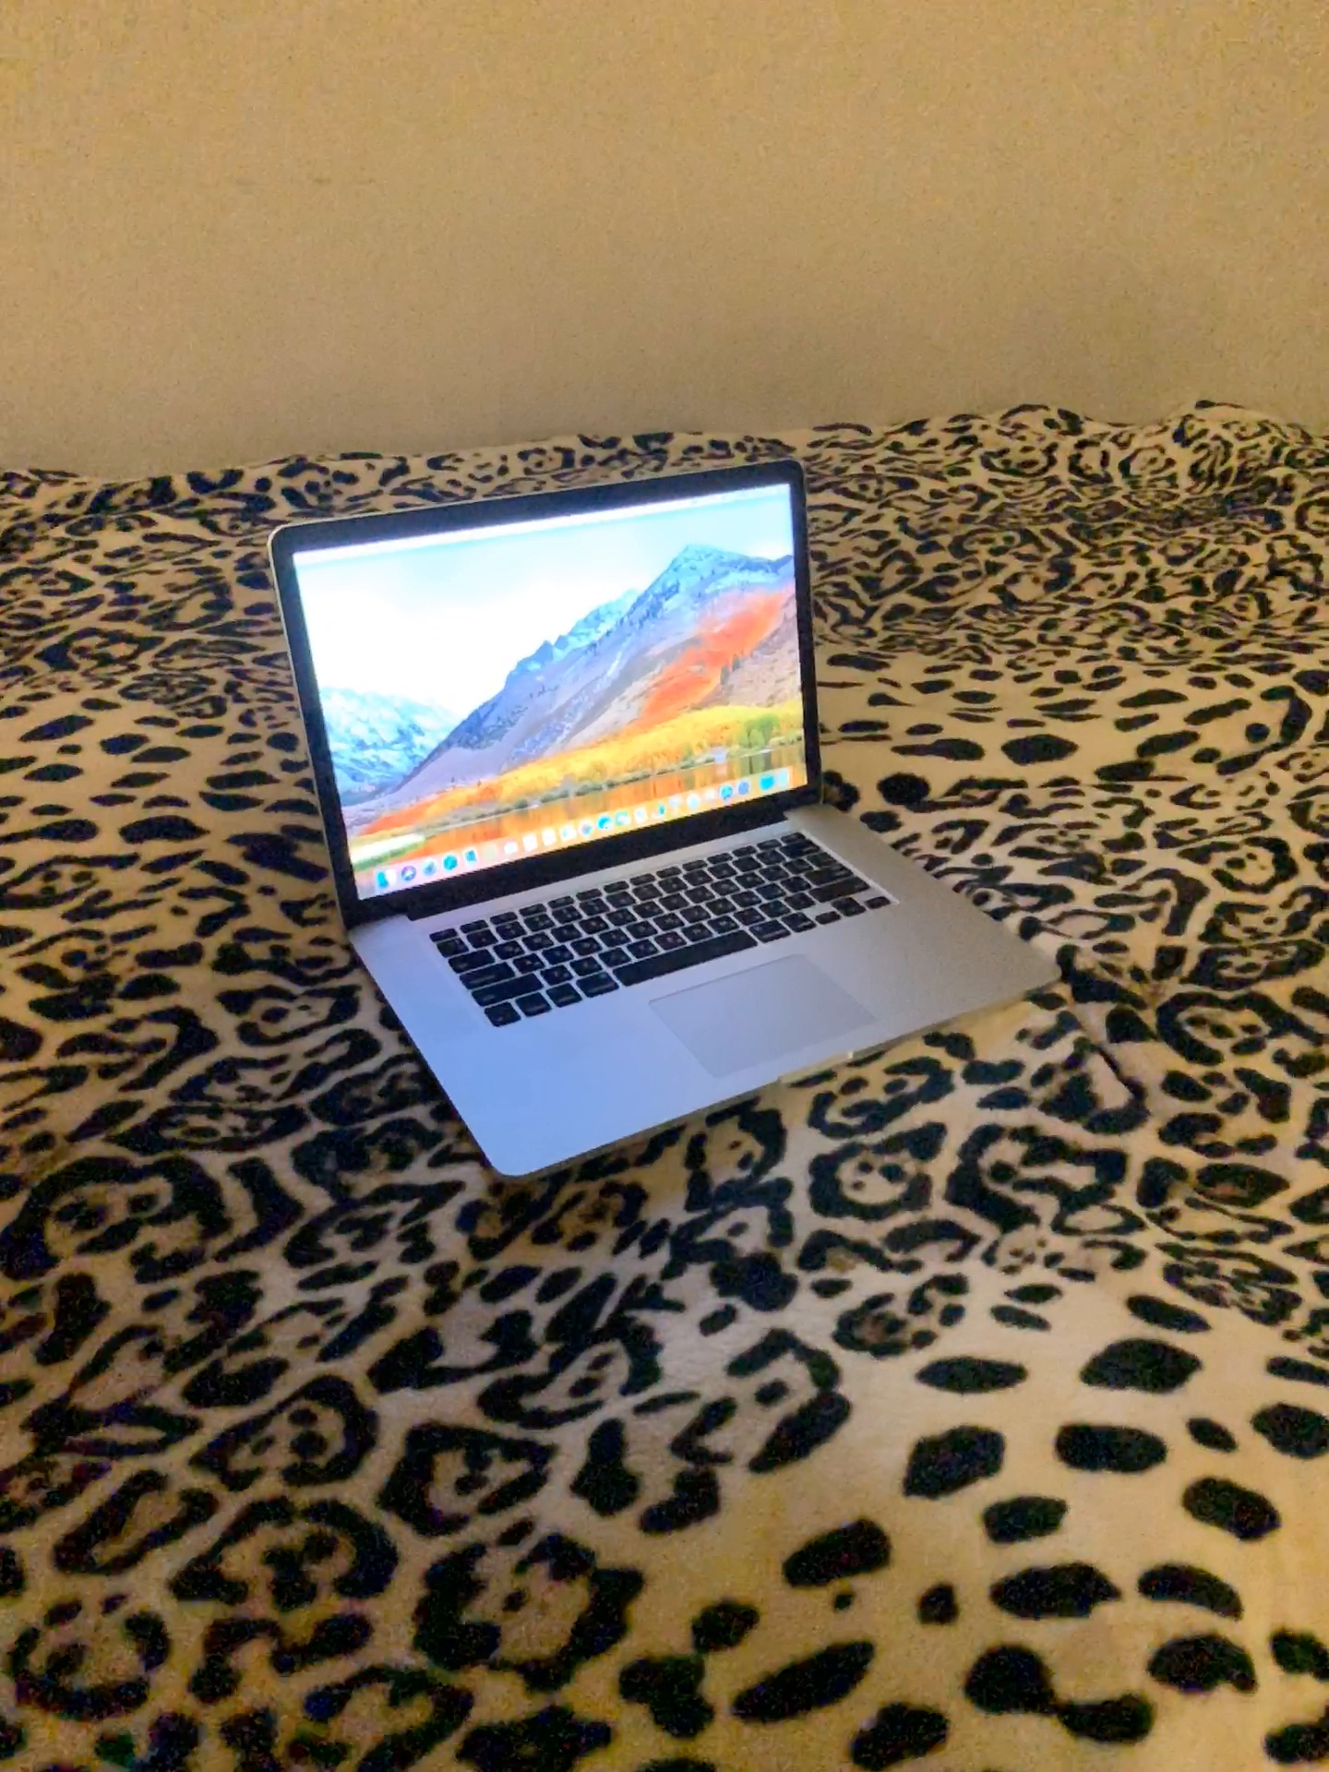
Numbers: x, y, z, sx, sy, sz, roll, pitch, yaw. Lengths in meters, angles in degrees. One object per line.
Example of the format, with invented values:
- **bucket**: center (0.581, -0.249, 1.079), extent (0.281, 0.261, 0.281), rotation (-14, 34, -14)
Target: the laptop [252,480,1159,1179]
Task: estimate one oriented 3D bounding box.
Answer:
- **laptop**: center (0.005, -0.062, 0.750), extent (0.349, 0.222, 0.301), rotation (-16, 37, -25)
